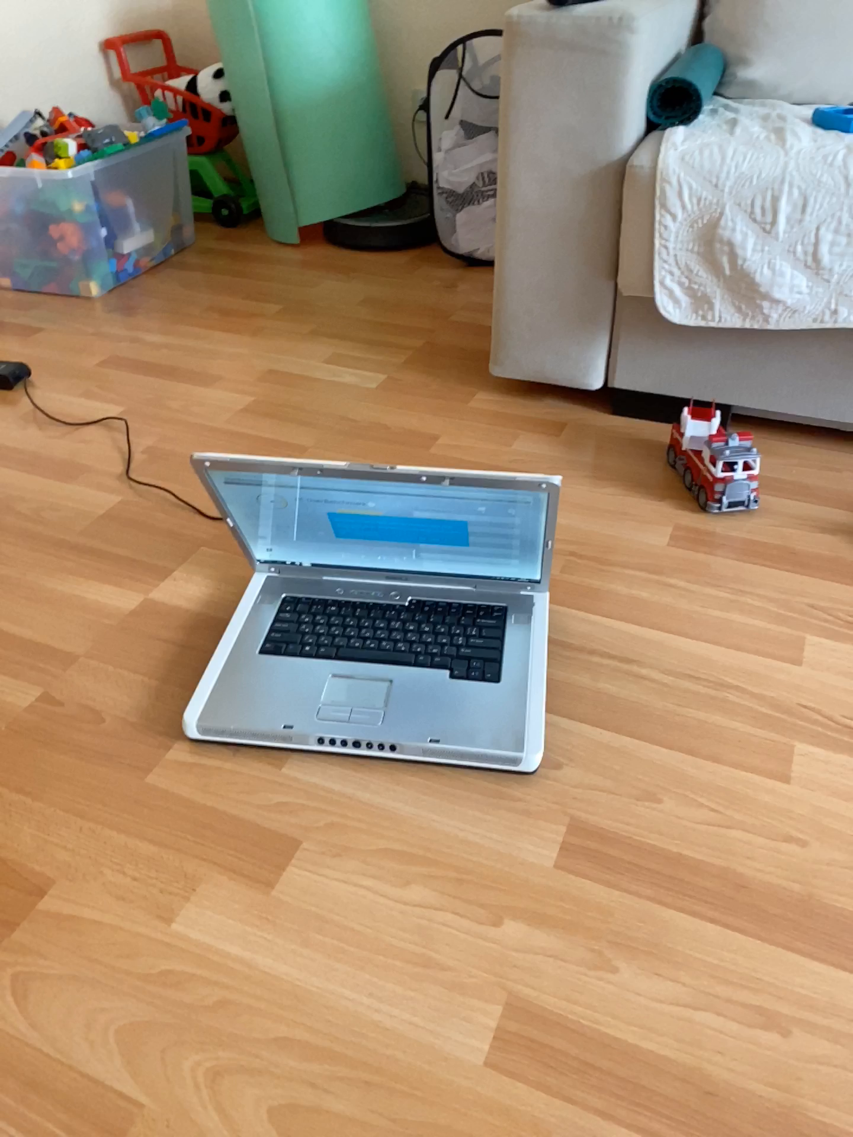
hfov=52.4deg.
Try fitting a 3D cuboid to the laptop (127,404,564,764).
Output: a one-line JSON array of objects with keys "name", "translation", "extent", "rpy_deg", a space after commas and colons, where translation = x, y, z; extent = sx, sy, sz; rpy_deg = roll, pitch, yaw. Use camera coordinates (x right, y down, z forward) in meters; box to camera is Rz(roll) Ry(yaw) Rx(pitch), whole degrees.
[{"name": "laptop", "translation": [-0.057, 0.004, 0.932], "extent": [0.386, 0.238, 0.275], "rpy_deg": [4, 36, 7]}]
